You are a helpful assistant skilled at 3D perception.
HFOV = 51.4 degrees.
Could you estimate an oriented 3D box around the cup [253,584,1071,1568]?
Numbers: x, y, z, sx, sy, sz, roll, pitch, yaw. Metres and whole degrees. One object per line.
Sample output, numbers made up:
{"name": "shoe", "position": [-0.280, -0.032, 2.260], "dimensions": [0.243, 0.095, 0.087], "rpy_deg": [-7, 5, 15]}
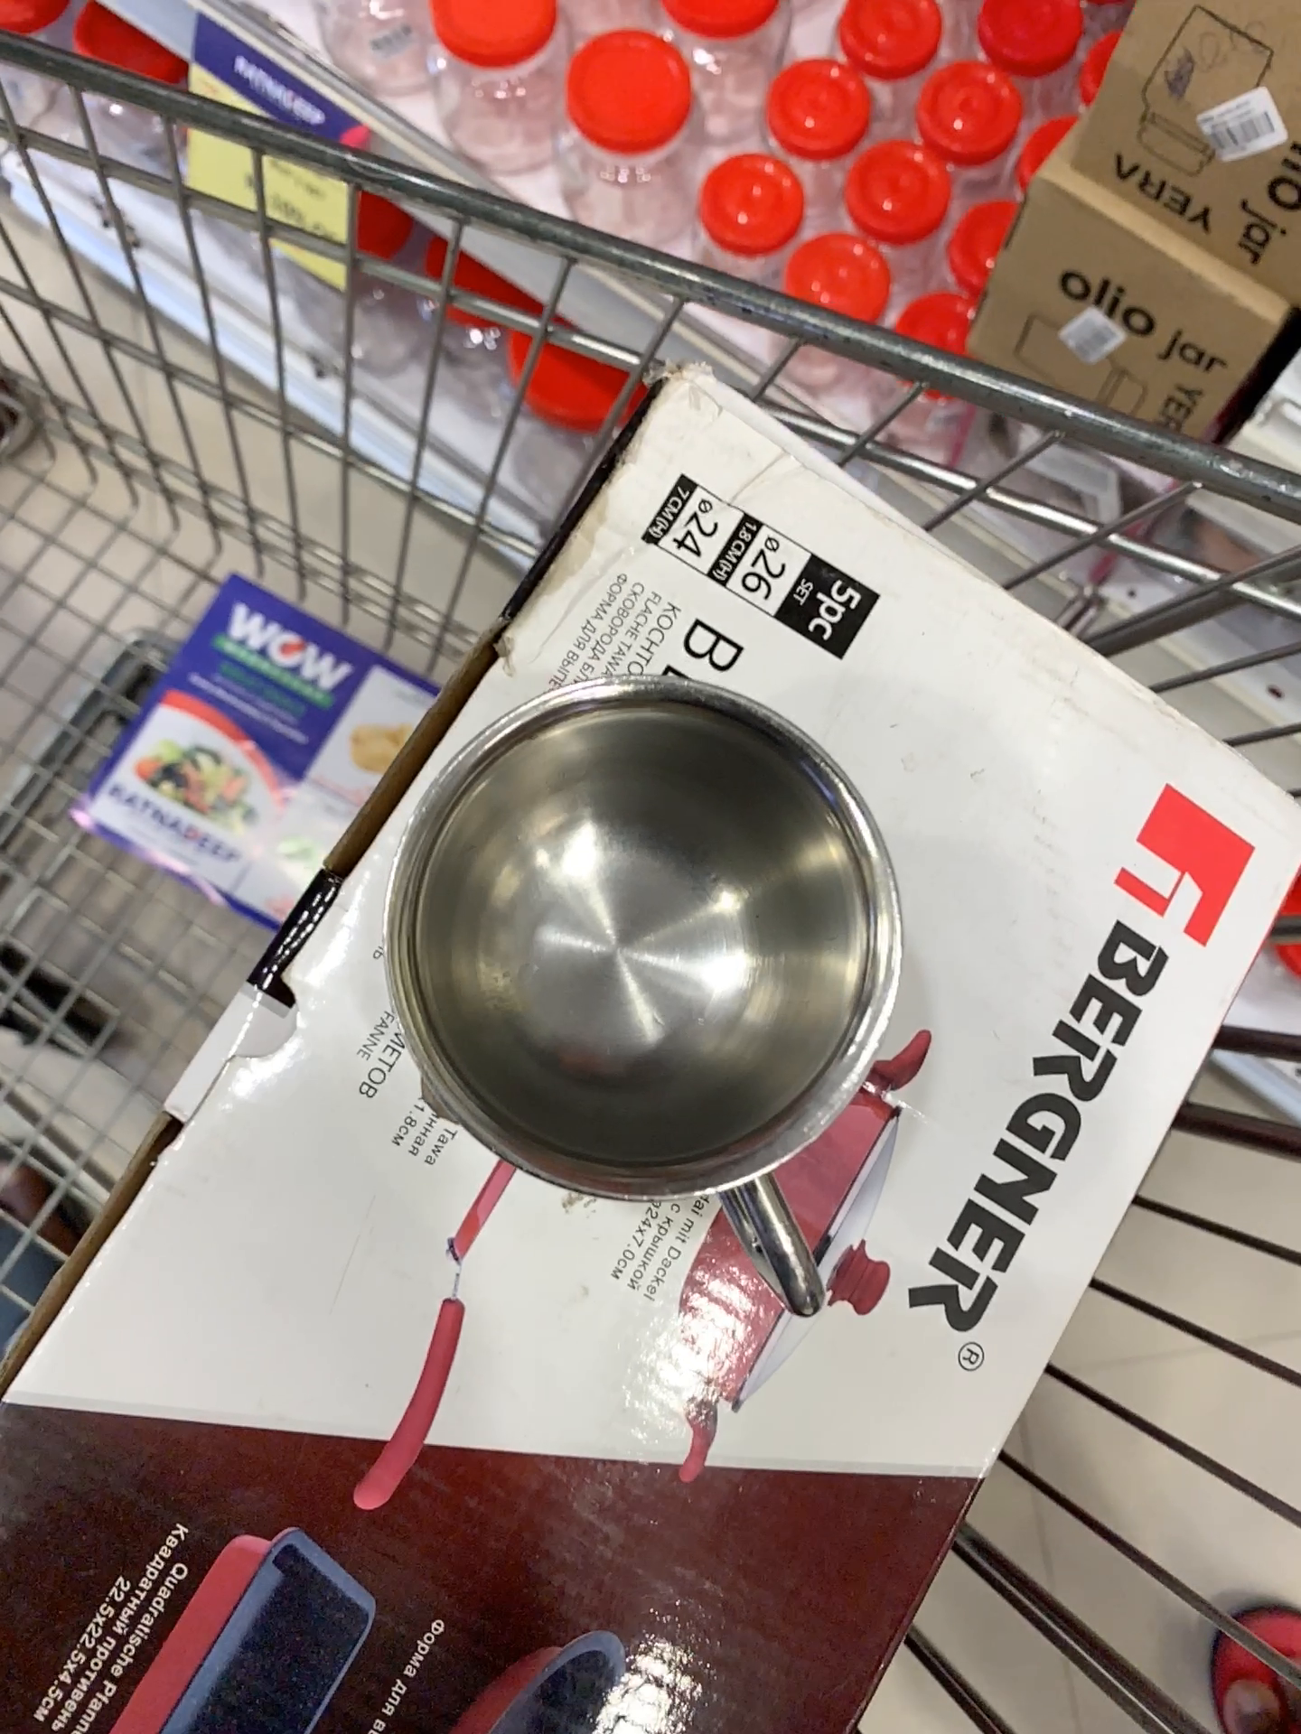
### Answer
{"name": "cup", "position": [-0.001, 0.024, 0.171], "dimensions": [0.060, 0.050, 0.090], "rpy_deg": [-21, 80, -5]}
